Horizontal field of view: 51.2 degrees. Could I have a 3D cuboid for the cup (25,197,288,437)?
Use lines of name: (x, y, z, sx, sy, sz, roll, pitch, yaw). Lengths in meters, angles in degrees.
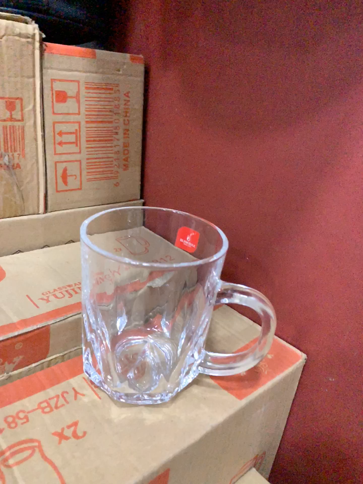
cup: (-0.009, 0.028, 0.184, 0.100, 0.072, 0.069, 9, 22, 8)
